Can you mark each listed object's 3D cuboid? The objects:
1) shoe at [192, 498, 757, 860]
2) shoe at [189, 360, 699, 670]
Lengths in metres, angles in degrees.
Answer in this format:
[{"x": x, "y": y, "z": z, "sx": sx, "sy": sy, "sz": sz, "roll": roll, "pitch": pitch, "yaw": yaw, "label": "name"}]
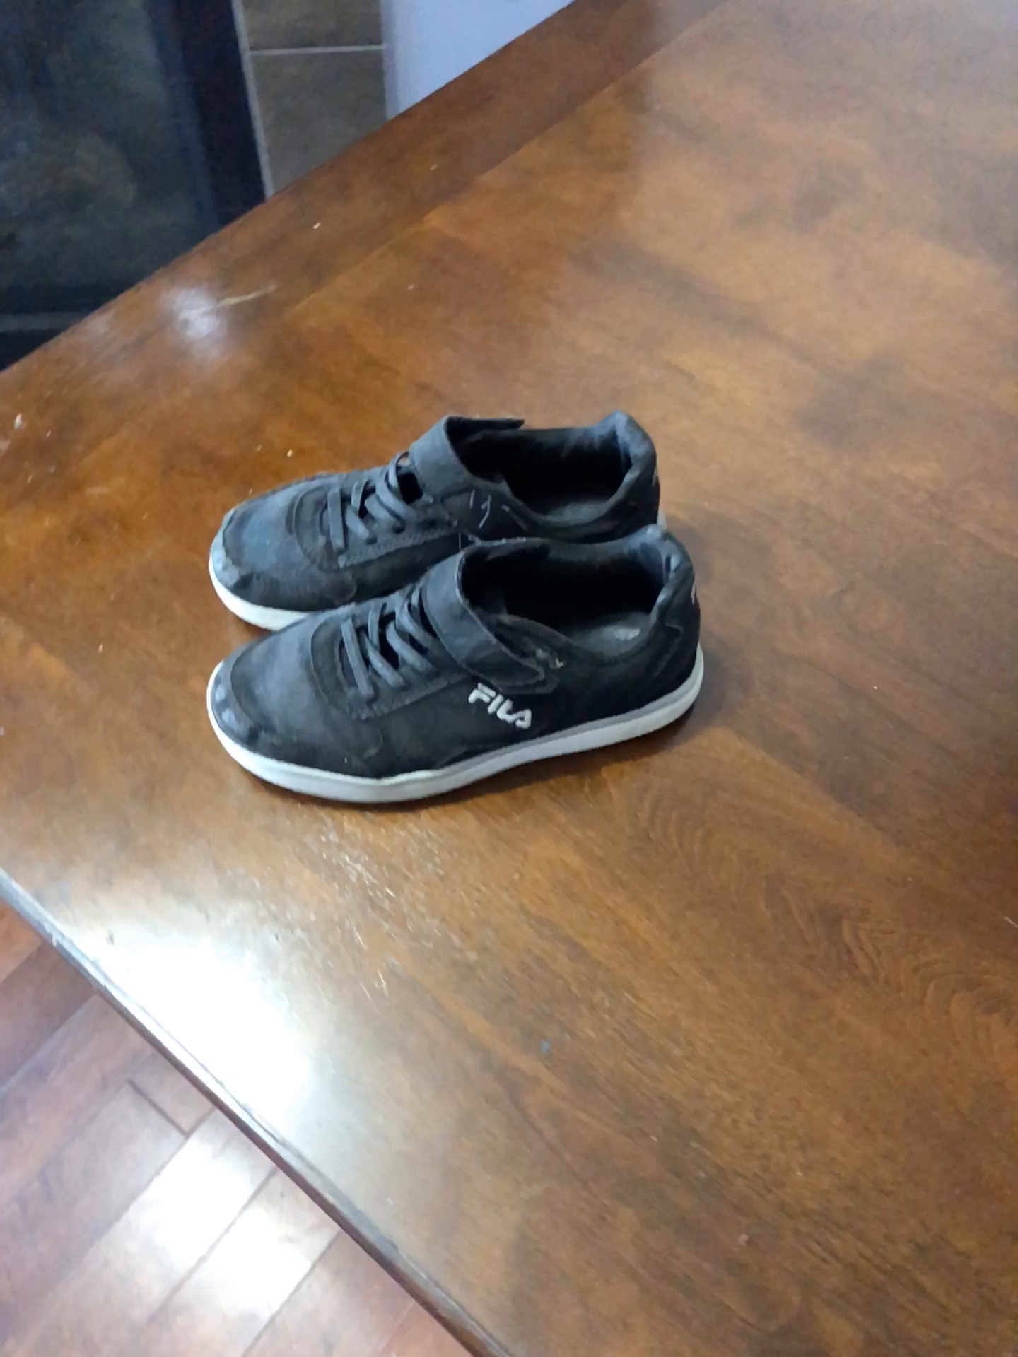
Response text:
[{"x": -0.017, "y": -0.001, "z": 0.483, "sx": 0.210, "sy": 0.080, "sz": 0.090, "roll": -11, "pitch": 59, "yaw": -9, "label": "shoe"}, {"x": -0.032, "y": -0.076, "z": 0.522, "sx": 0.210, "sy": 0.080, "sz": 0.090, "roll": -7, "pitch": 59, "yaw": -6, "label": "shoe"}]
